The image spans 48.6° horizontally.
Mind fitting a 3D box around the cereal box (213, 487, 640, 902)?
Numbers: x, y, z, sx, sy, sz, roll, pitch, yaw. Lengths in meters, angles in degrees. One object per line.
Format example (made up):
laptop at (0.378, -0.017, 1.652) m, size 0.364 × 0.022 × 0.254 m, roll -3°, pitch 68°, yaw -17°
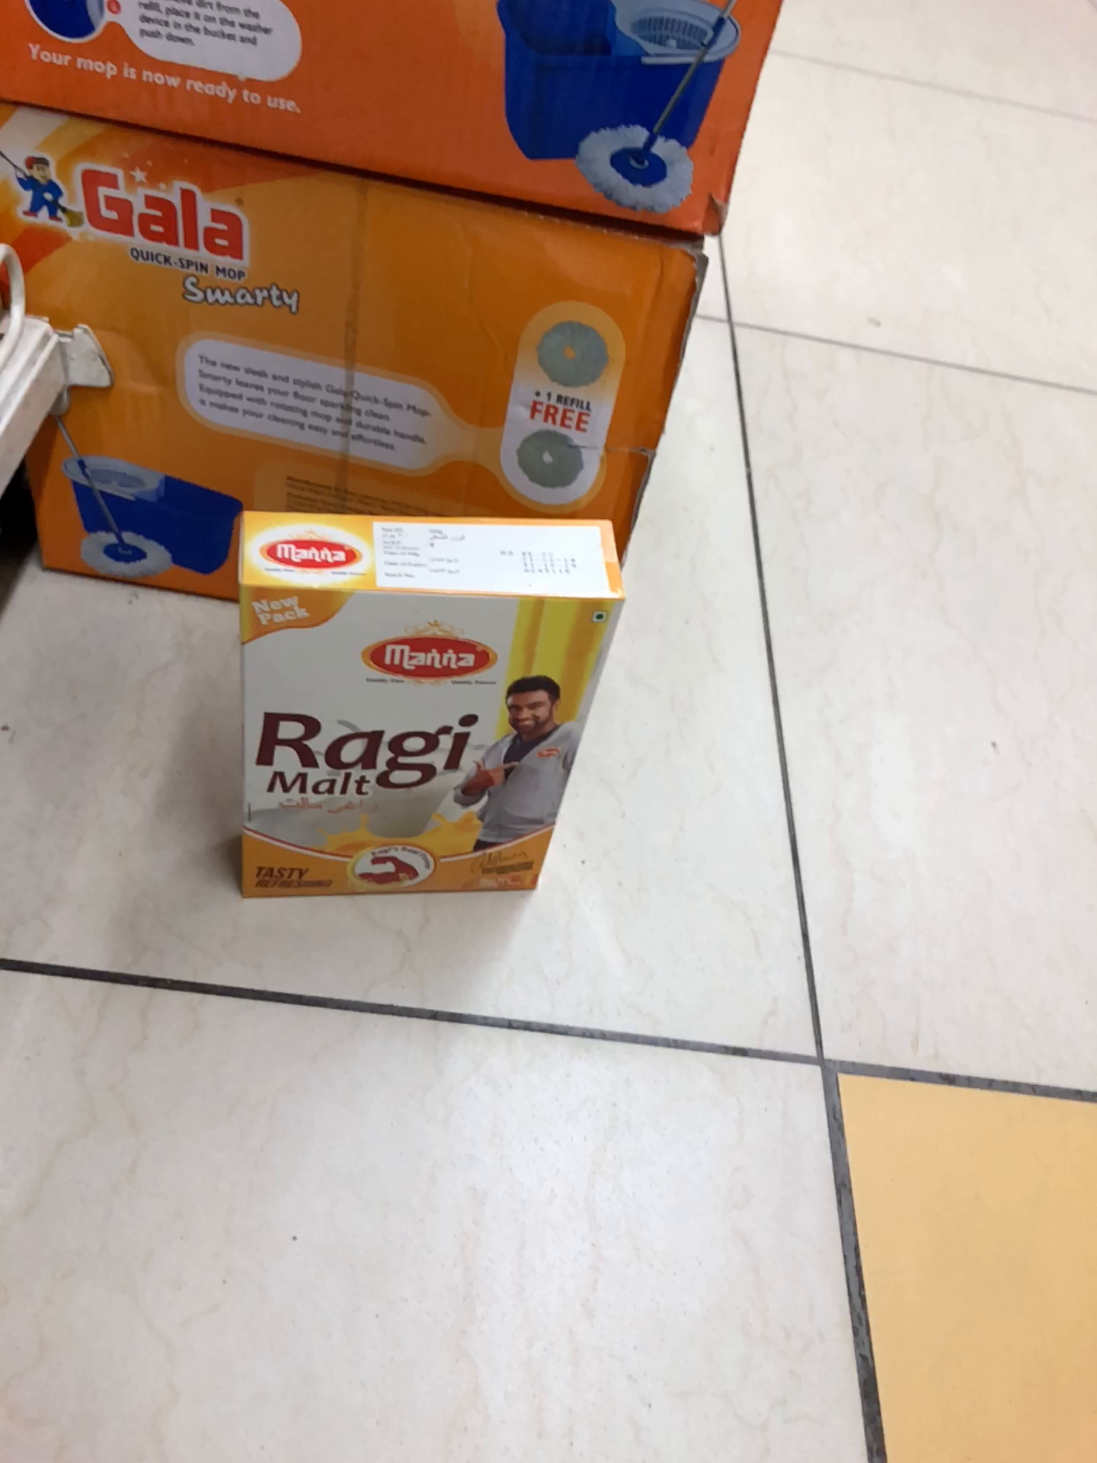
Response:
cereal box at (-0.057, -0.005, 0.478) m, size 0.140 × 0.179 × 0.050 m, roll 0°, pitch 49°, yaw -14°
